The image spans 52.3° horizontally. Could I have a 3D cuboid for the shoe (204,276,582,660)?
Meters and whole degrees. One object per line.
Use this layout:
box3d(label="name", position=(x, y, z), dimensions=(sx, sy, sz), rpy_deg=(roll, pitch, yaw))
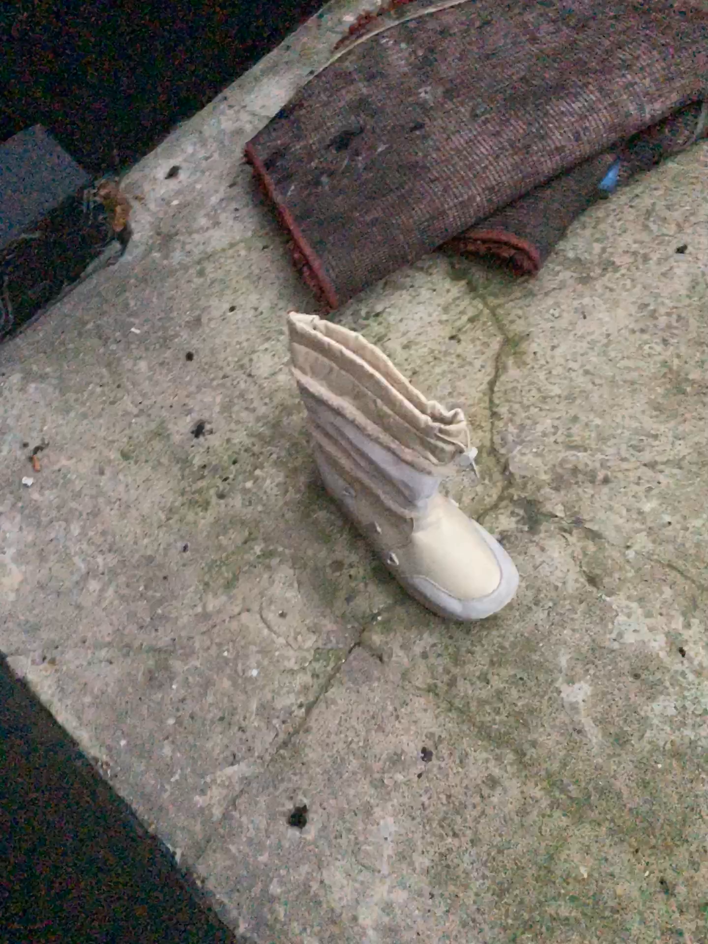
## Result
box3d(label="shoe", position=(0.036, 0.017, 0.662), dimensions=(0.271, 0.299, 0.110), rpy_deg=(40, 78, 20))
